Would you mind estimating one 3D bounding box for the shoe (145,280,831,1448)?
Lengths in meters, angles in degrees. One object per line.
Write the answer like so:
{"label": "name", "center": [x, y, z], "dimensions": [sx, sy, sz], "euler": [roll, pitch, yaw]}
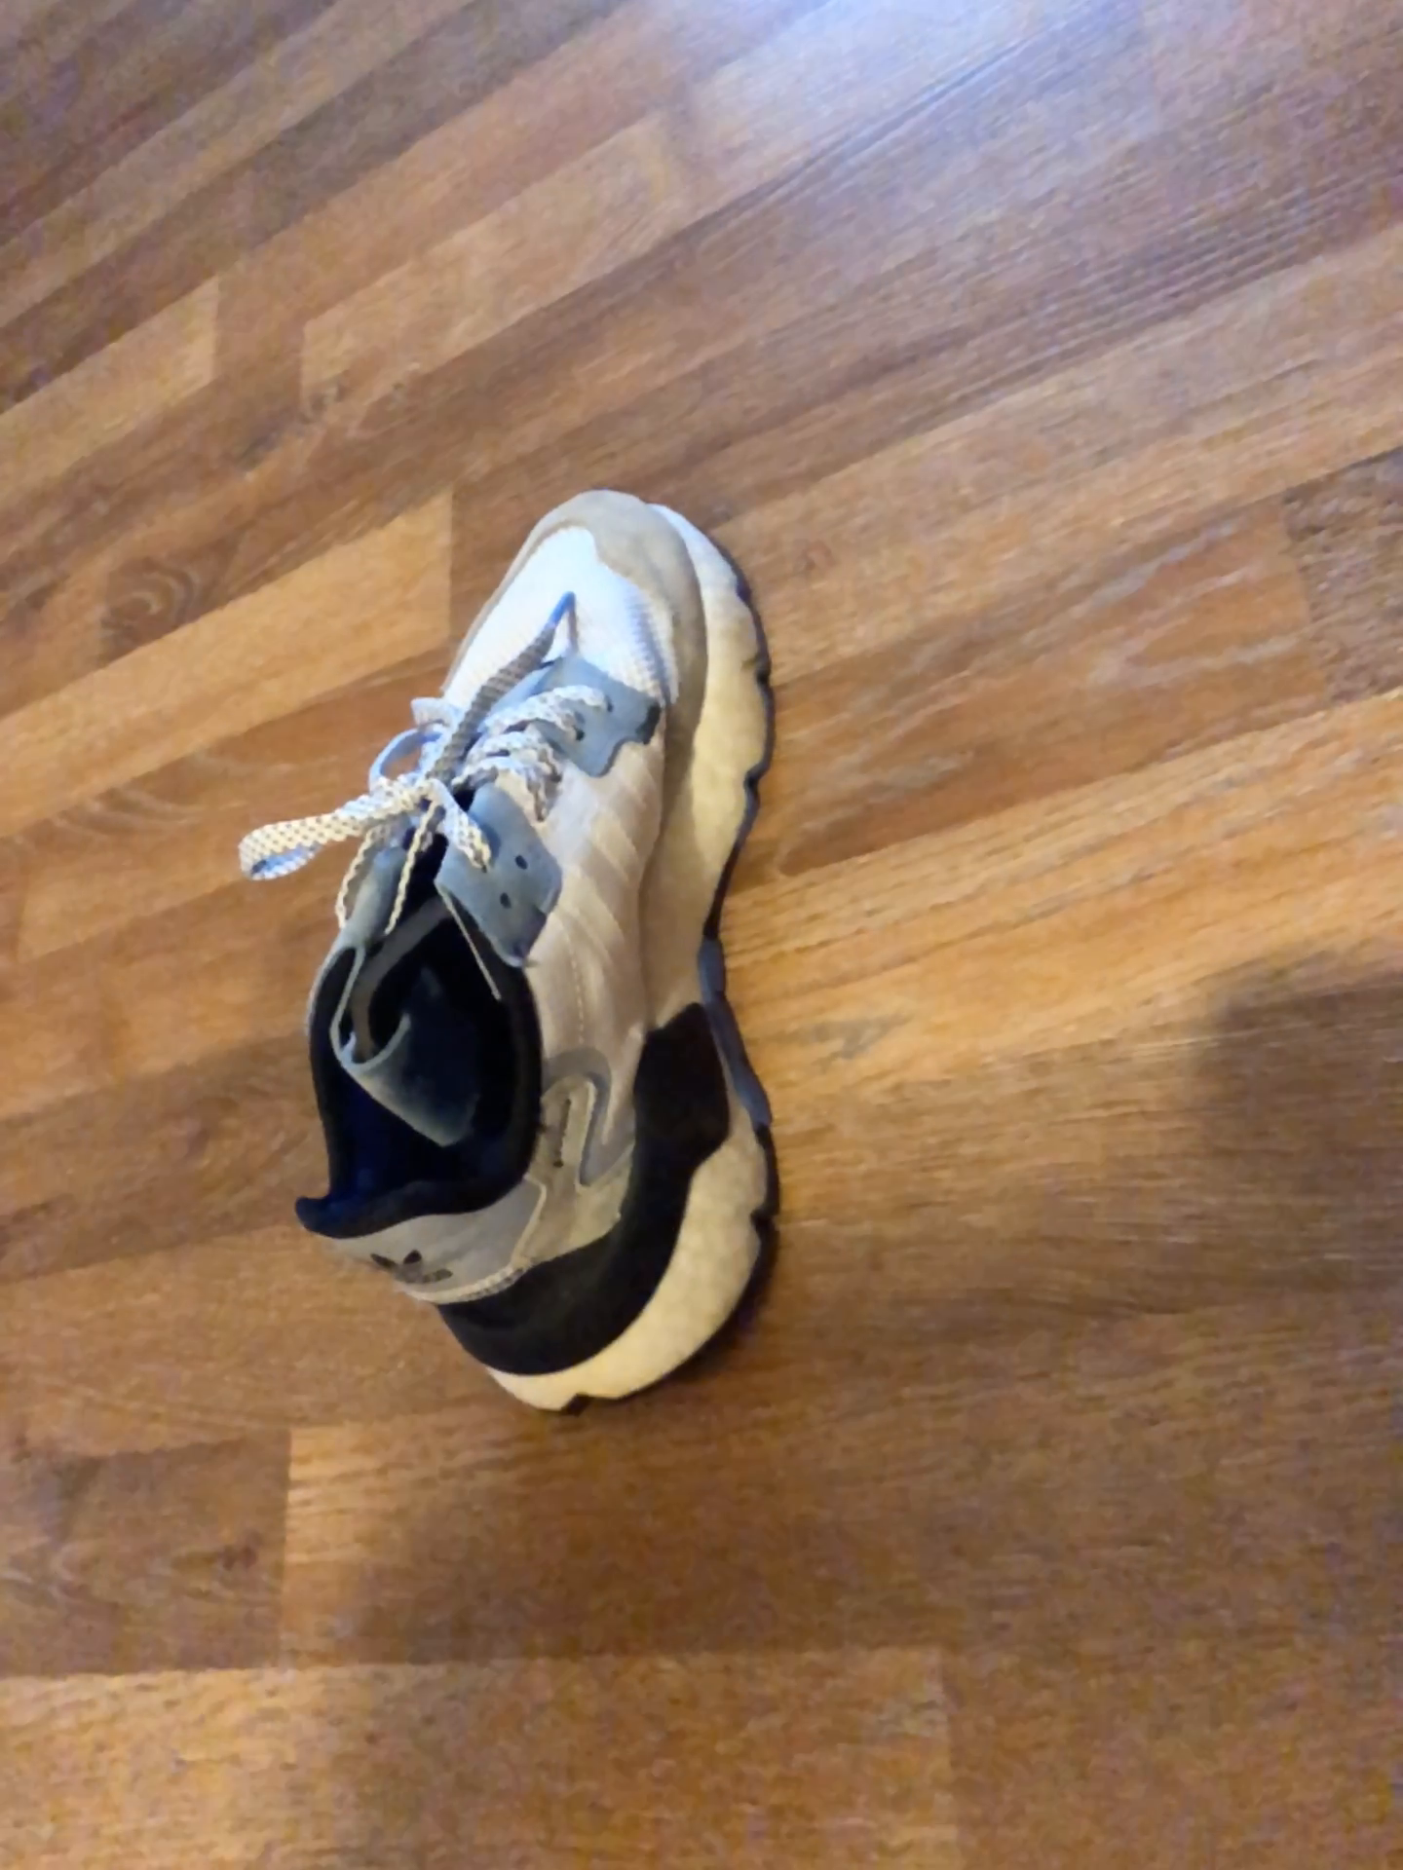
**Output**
{"label": "shoe", "center": [-0.053, -0.014, 0.416], "dimensions": [0.113, 0.109, 0.271], "euler": [-17, 62, 28]}
